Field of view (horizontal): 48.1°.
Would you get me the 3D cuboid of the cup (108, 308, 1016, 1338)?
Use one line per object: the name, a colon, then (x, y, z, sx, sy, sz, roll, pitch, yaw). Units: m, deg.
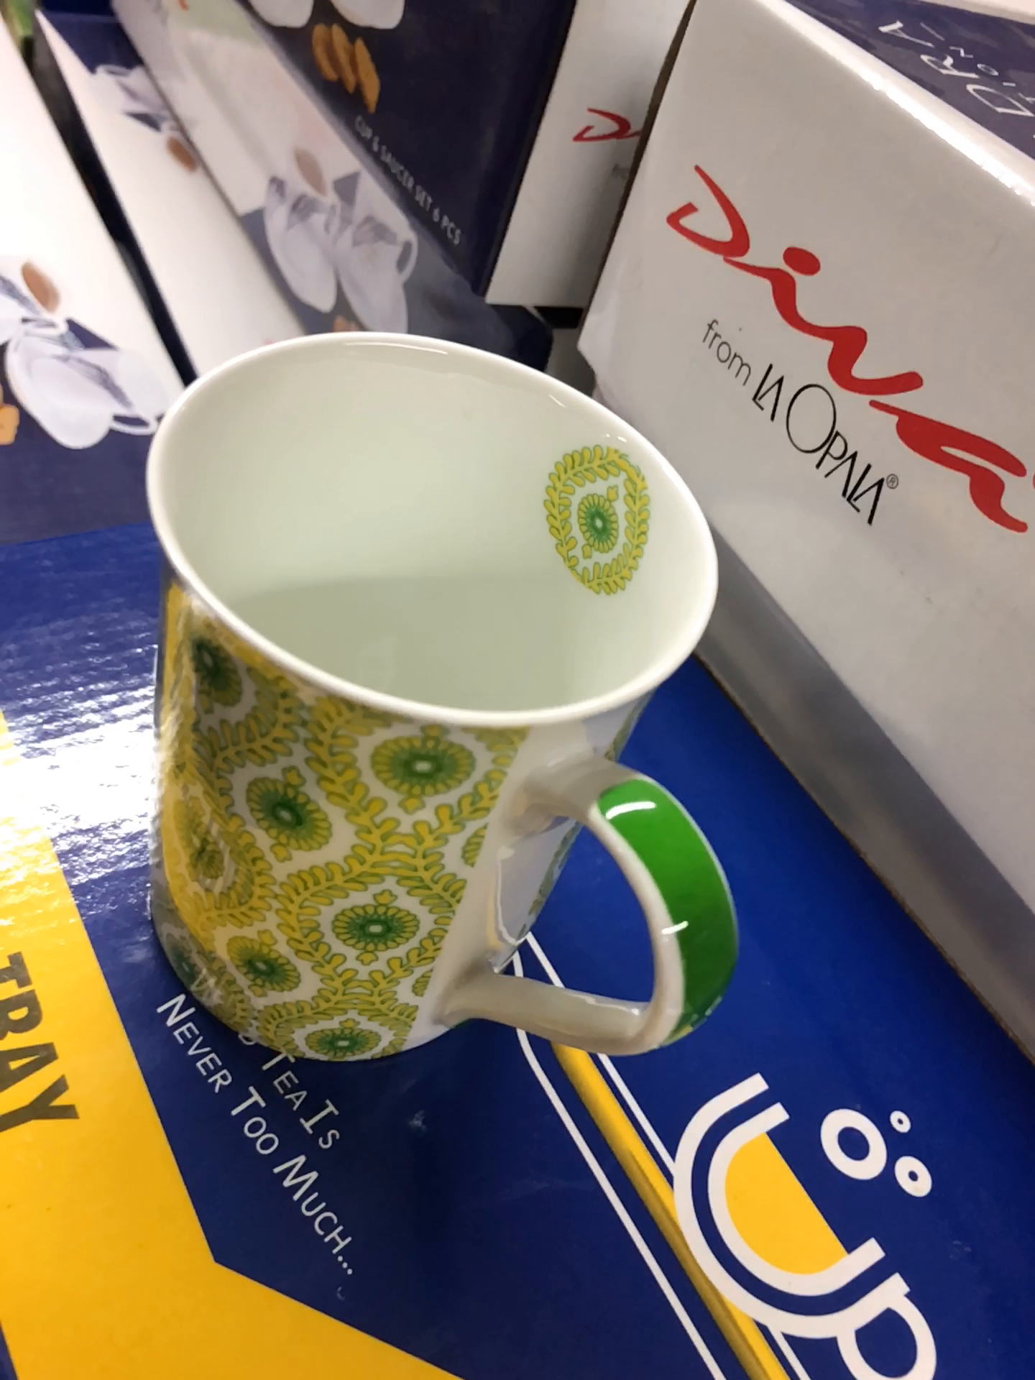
cup: (-0.010, 0.014, 0.166, 0.070, 0.089, 0.100, -12, 54, -29)
